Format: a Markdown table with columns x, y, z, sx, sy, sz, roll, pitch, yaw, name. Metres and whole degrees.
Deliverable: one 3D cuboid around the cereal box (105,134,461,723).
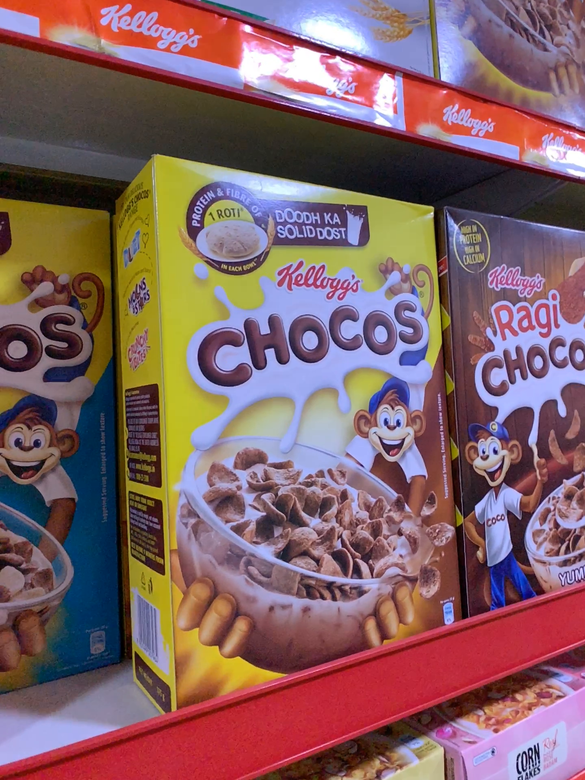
| x | y | z | sx | sy | sz | roll | pitch | yaw | name |
| --- | --- | --- | --- | --- | --- | --- | --- | --- | --- |
| -0.001 | 0.012 | 0.319 | 0.170 | 0.240 | 0.060 | -1 | -3 | -32 | cereal box |
